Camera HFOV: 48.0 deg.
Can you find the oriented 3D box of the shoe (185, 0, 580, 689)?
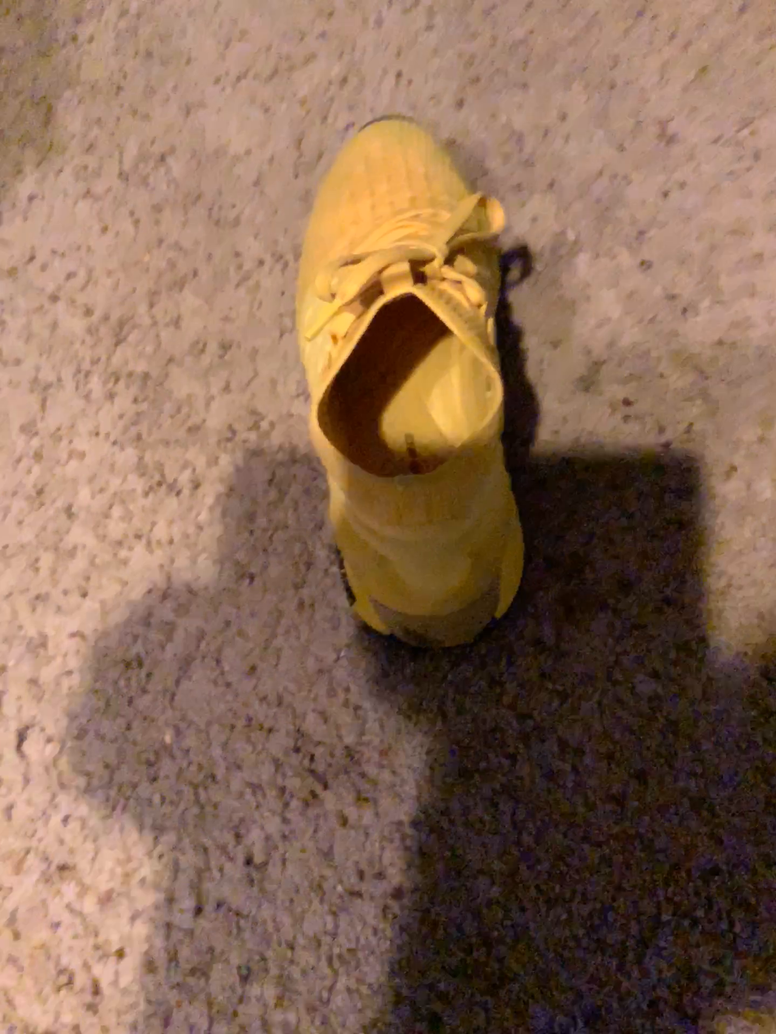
[{"bbox_3d":[-0.002,-0.098,0.403,0.130,0.130,0.320,-7,67,8],"label":"shoe"}]
